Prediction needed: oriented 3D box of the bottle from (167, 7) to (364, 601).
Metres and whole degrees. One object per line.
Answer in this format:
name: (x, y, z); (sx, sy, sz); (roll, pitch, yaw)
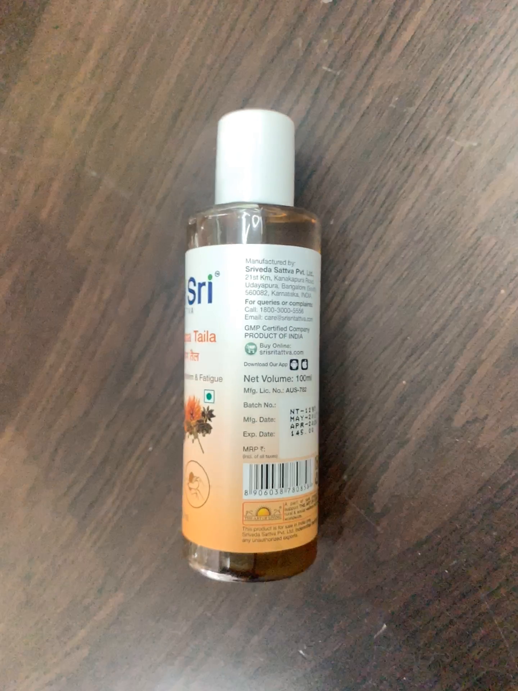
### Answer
bottle: (0.001, -0.010, 0.157); (0.040, 0.040, 0.140); (-1, 89, 53)
